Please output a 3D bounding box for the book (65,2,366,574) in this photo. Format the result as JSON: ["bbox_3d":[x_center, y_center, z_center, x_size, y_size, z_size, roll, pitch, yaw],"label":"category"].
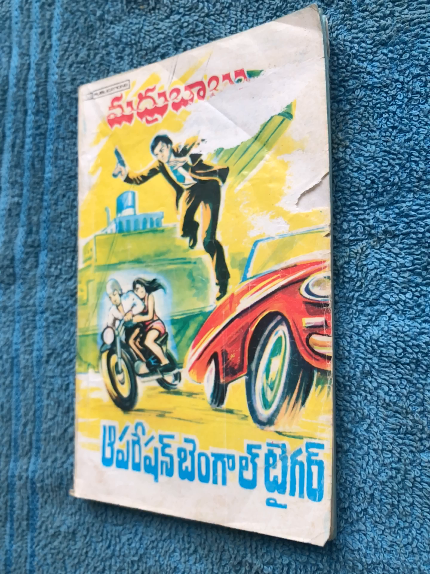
[{"bbox_3d":[-0.004,-0.001,0.168,0.100,0.020,0.160,-2,85,26],"label":"book"}]
